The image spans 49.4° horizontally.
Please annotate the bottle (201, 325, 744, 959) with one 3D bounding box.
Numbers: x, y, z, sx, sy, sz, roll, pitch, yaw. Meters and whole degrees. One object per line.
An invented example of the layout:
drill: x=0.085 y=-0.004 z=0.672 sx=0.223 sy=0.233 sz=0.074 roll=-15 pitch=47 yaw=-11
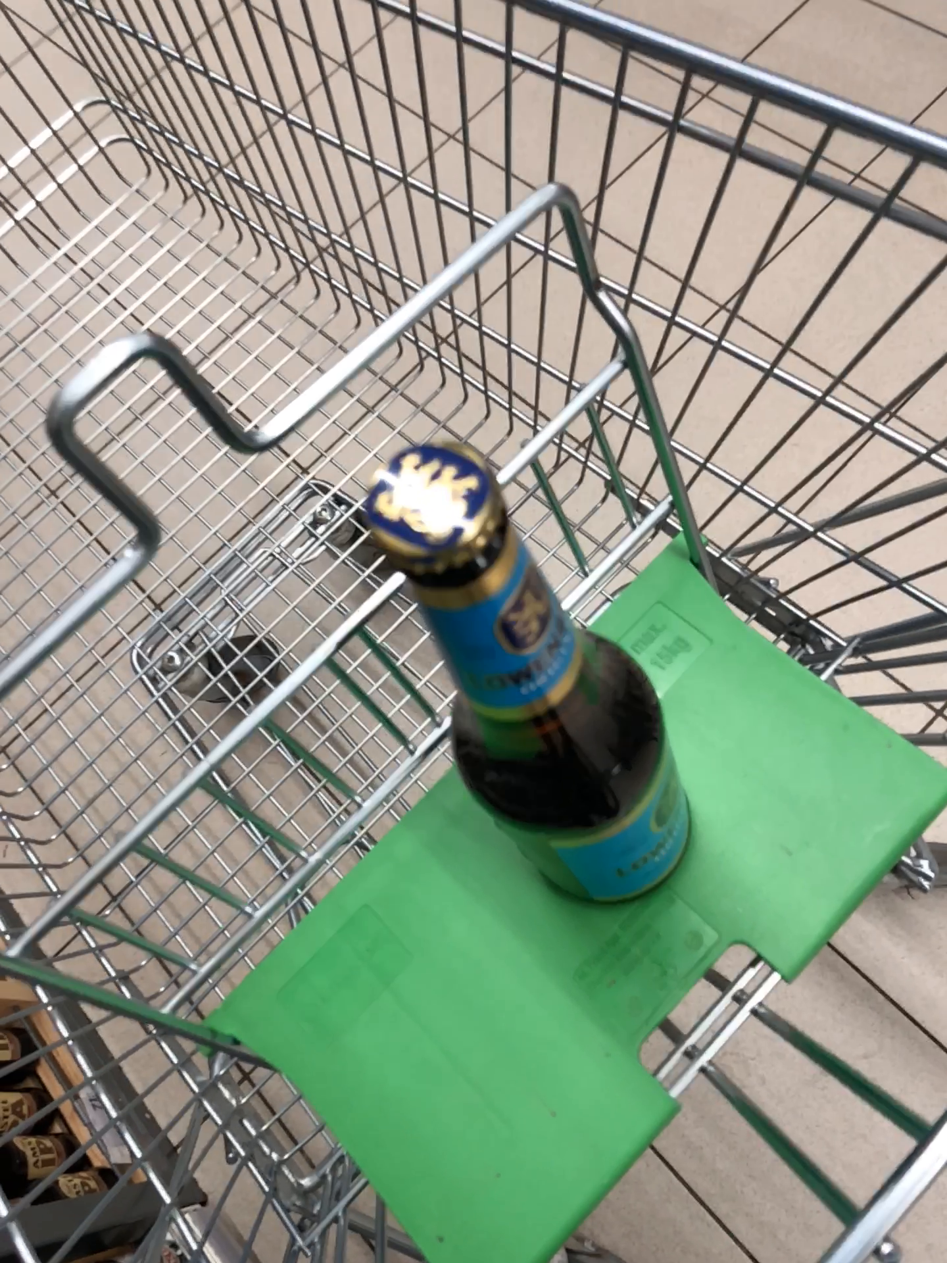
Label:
bottle: x=0.028 y=0.030 z=0.301 sx=0.070 sy=0.249 sz=0.080 roll=18 pitch=73 yaw=23
